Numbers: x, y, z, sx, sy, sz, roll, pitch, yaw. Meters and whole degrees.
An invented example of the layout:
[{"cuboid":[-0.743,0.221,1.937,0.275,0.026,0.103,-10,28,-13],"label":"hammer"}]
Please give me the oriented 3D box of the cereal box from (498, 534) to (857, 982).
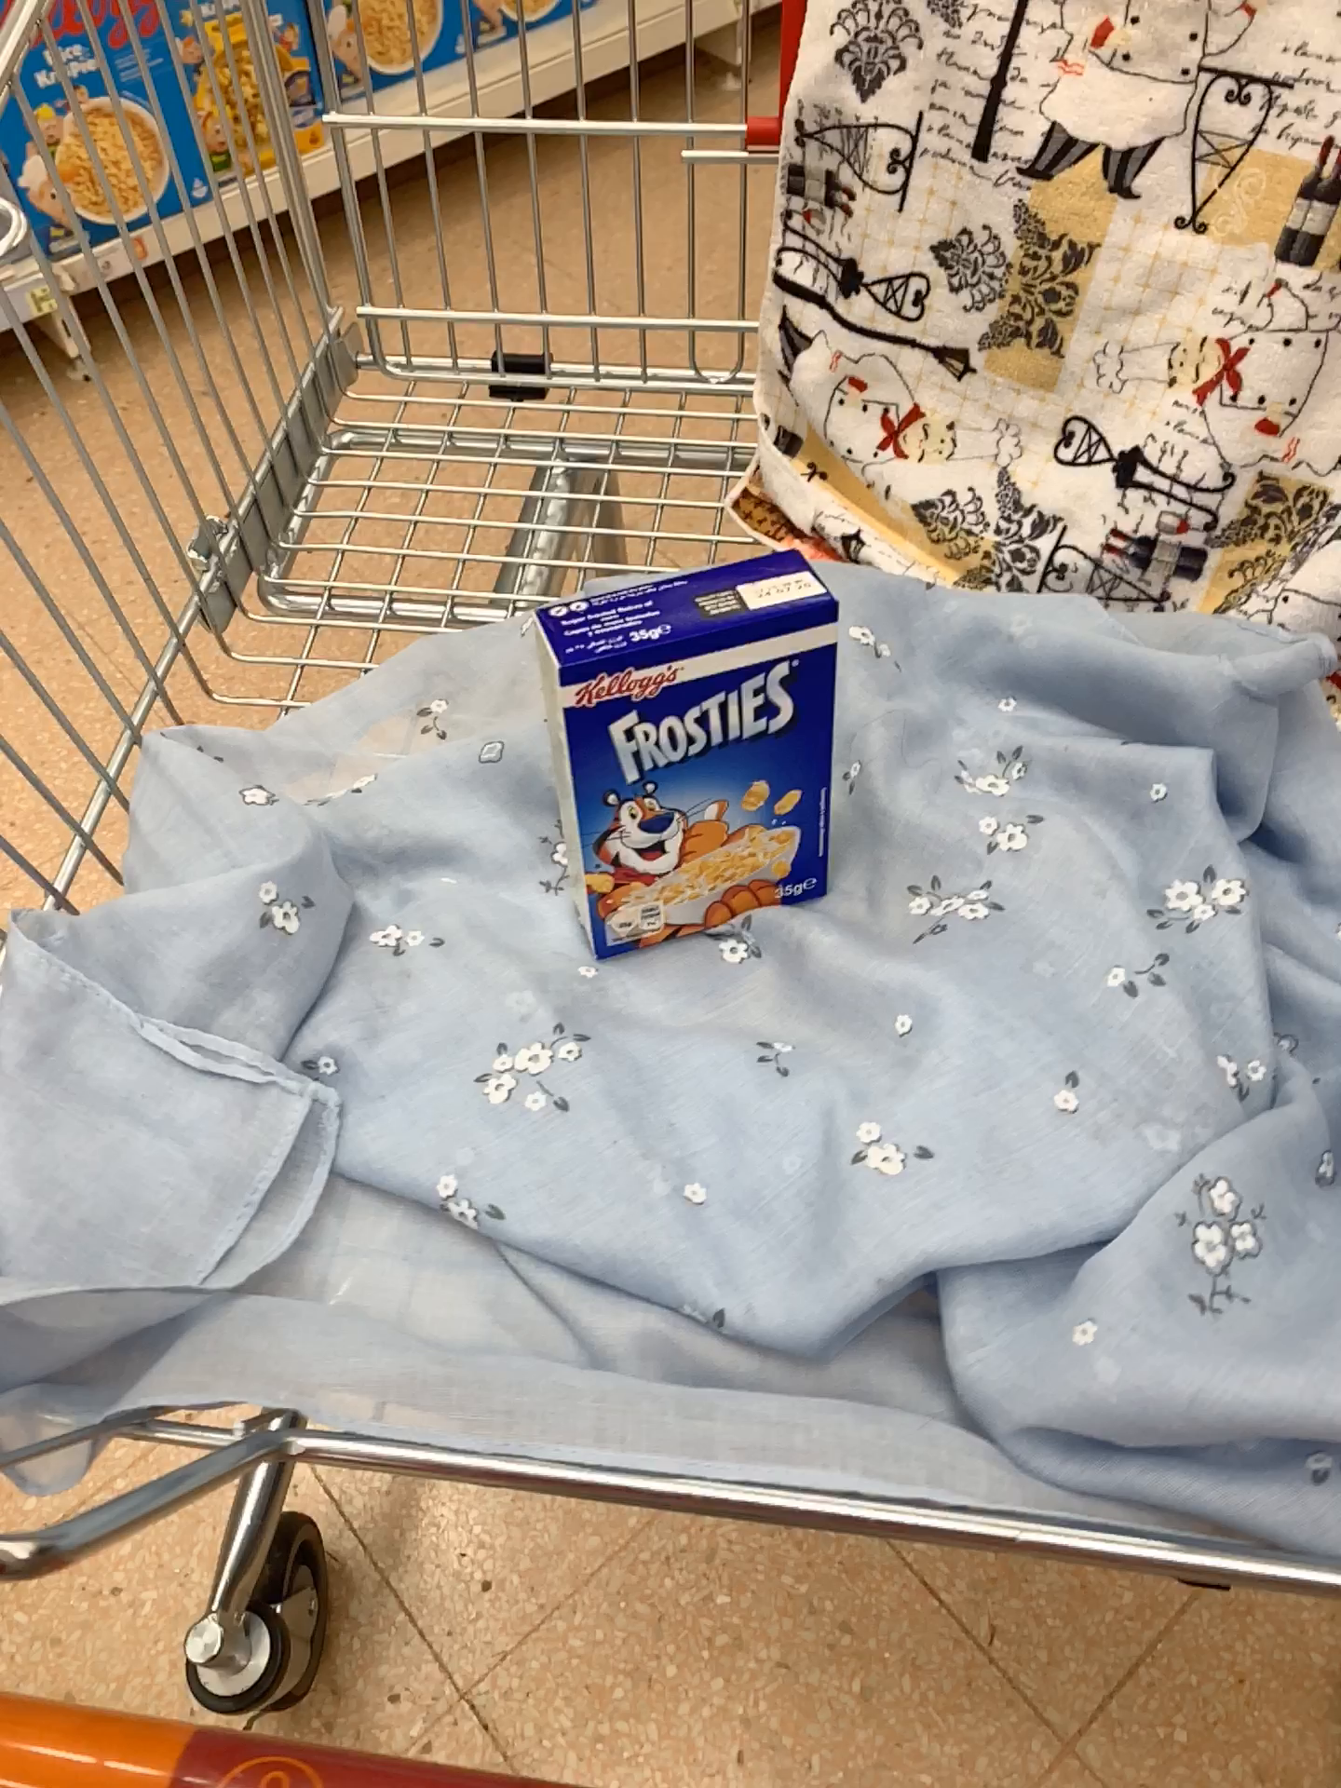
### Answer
[{"cuboid":[0.006,-0.041,0.456,0.100,0.129,0.040,-16,46,-10],"label":"cereal box"}]
